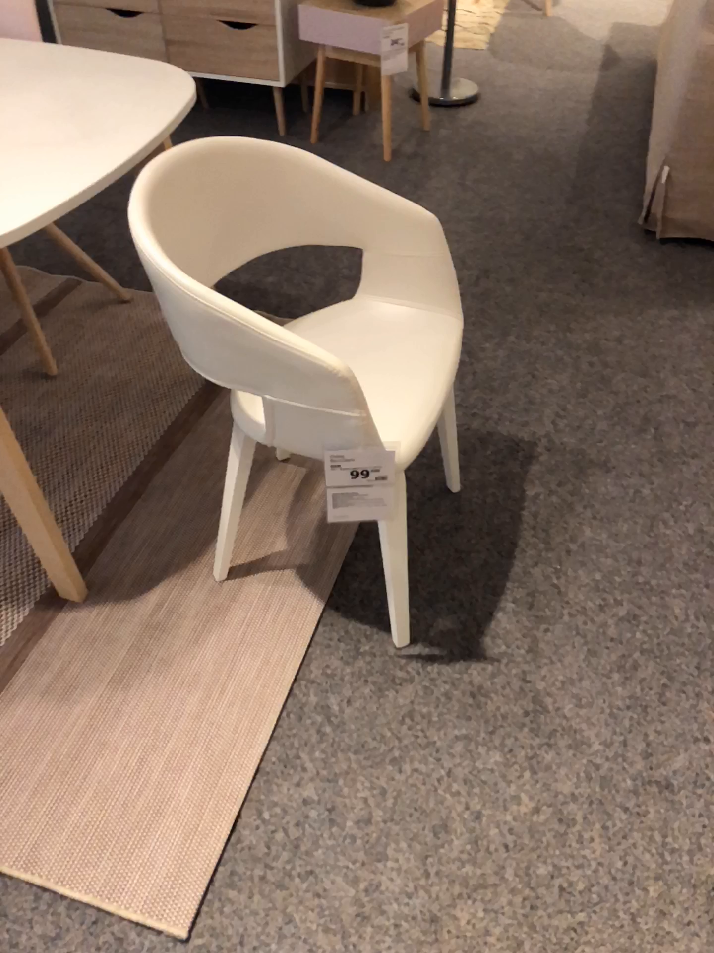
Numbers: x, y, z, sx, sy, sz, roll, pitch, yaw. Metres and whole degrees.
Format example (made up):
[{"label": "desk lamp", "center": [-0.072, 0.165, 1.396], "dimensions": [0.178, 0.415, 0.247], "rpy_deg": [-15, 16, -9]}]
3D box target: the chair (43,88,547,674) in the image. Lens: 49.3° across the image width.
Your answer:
[{"label": "chair", "center": [-0.048, -0.161, 1.375], "dimensions": [0.559, 0.756, 0.554], "rpy_deg": [13, 46, 12]}]
